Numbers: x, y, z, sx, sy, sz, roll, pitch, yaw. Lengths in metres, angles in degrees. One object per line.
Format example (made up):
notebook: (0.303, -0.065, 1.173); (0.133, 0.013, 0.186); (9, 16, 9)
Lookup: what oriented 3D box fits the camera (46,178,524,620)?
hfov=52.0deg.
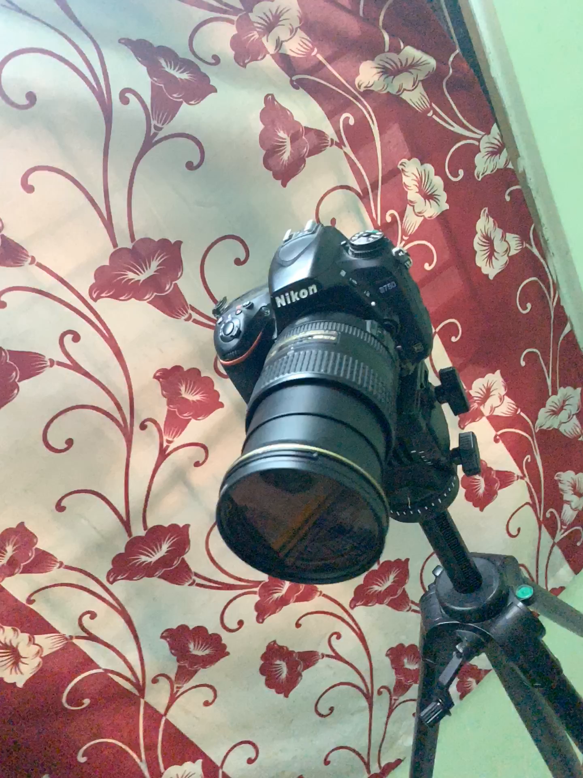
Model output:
camera: (0.007, 0.001, 0.329); (0.172, 0.122, 0.170); (-20, 27, 22)
